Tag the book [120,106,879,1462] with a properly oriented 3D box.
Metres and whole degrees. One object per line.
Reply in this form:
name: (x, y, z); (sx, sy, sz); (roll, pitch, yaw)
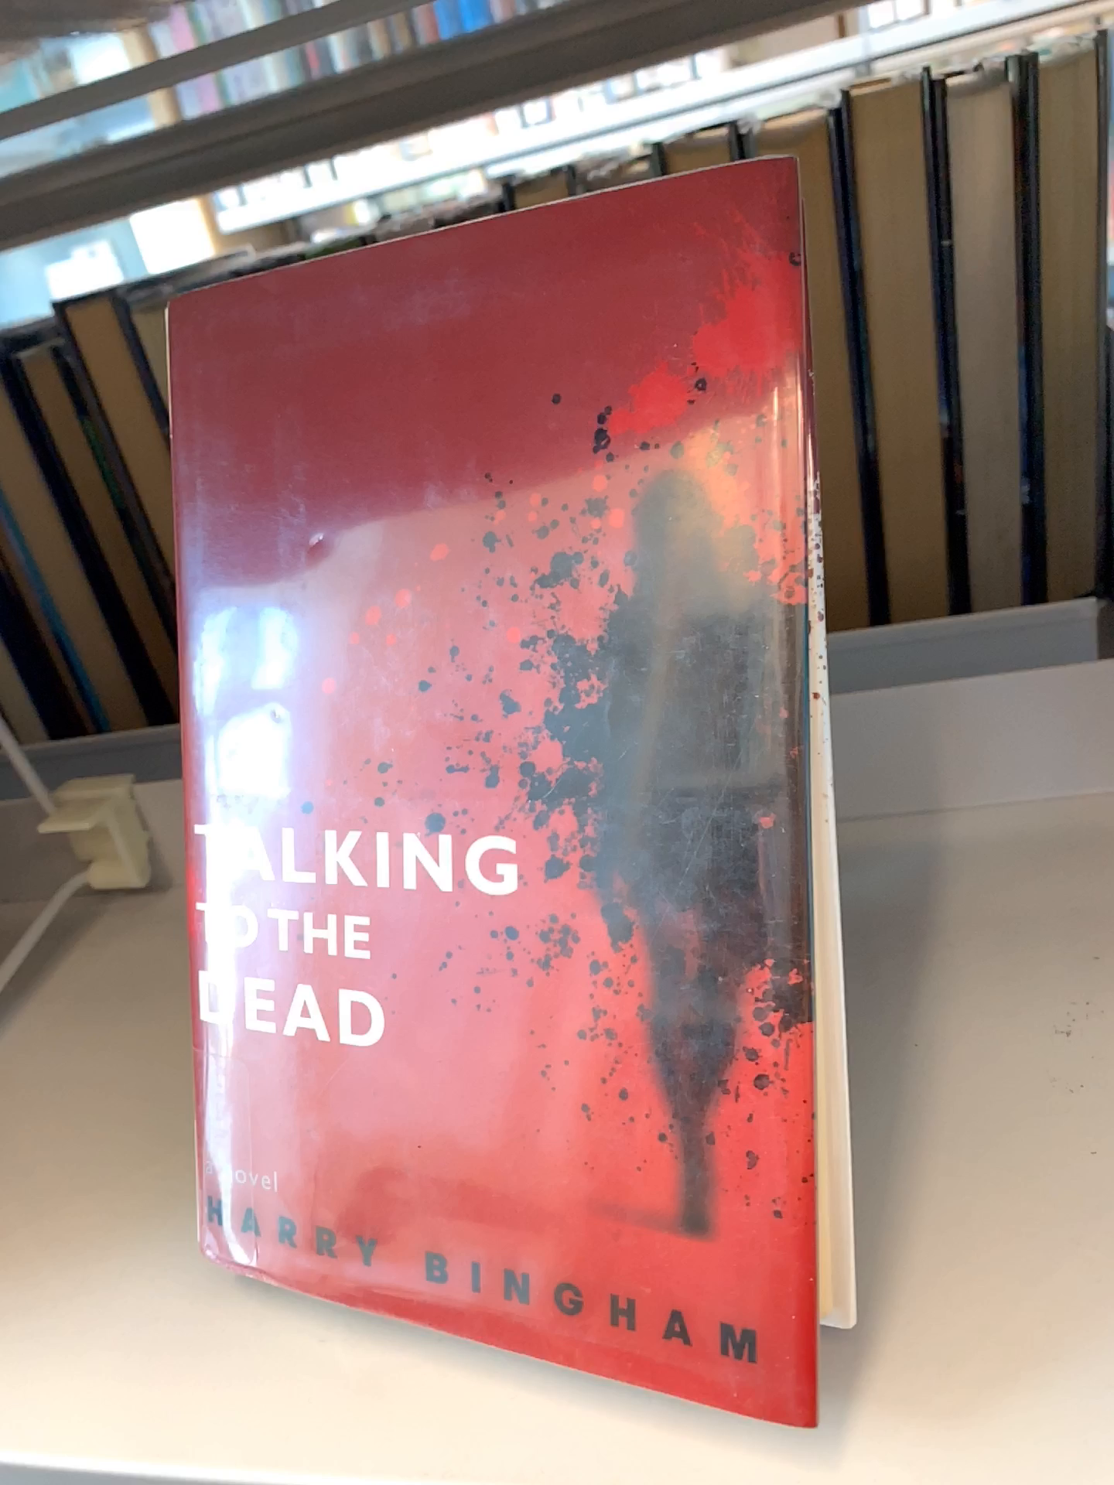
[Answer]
book: (-0.019, 0.008, 0.254); (0.164, 0.231, 0.040); (-1, 1, 28)
